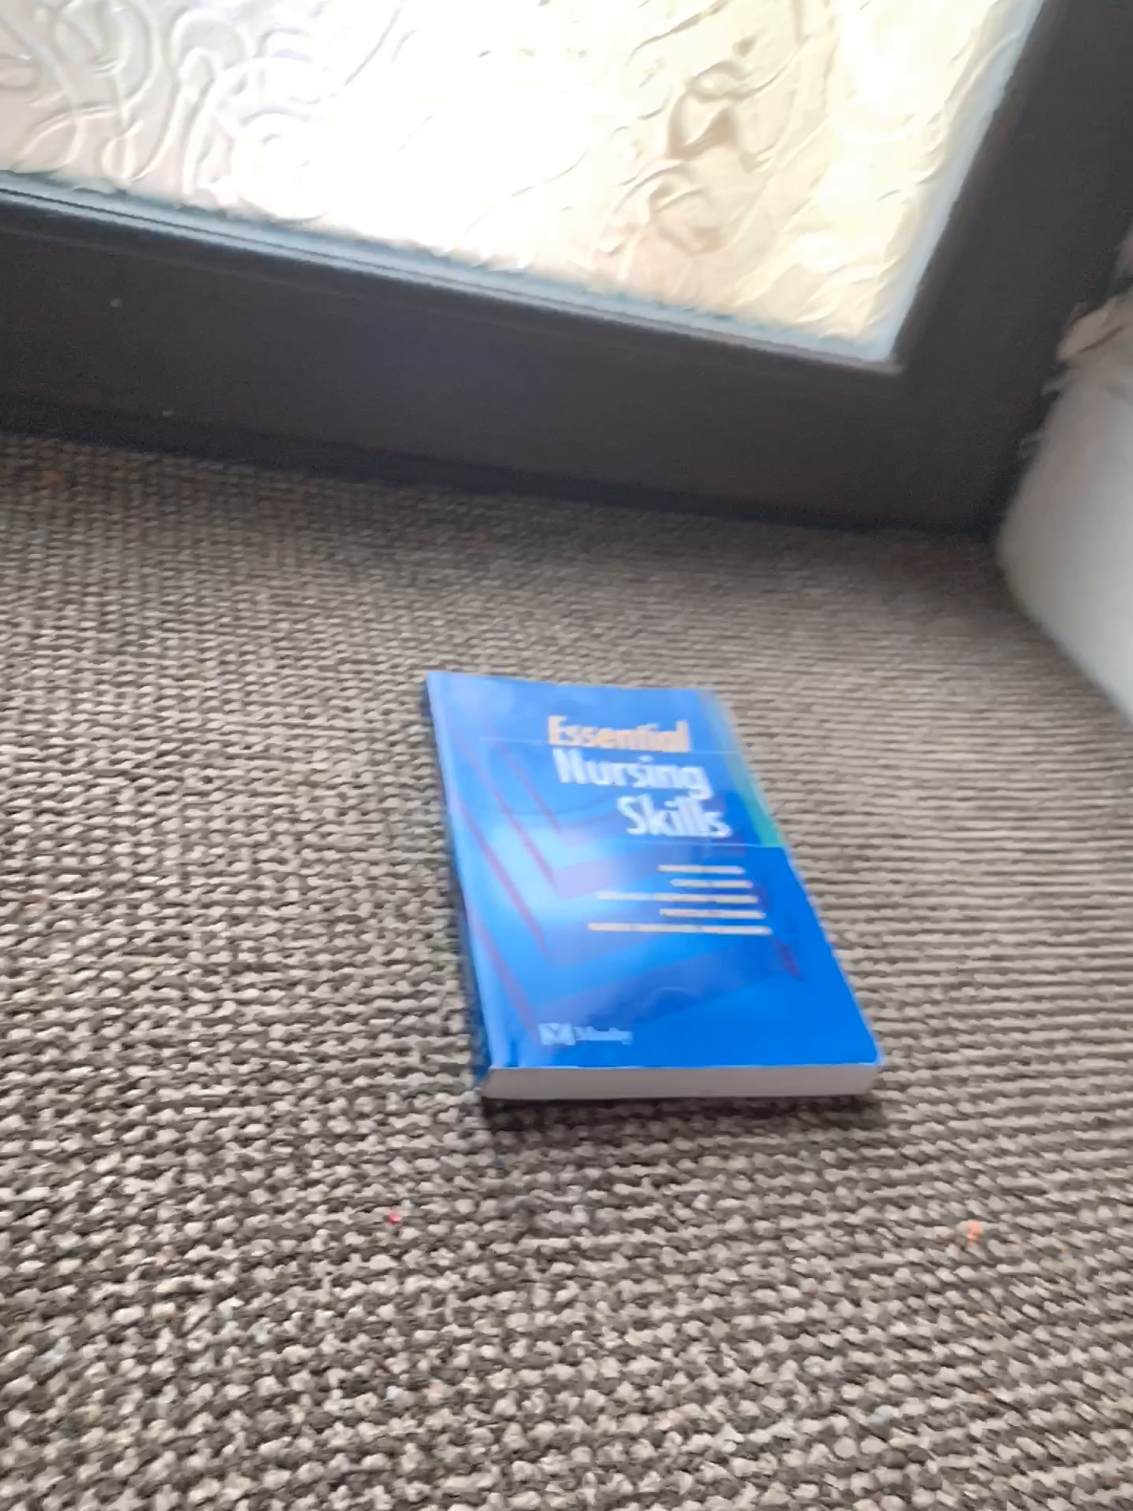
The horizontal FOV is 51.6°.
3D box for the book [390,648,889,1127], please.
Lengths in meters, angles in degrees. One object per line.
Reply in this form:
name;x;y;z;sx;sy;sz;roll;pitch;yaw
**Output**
book;0.017;0.043;0.521;0.170;0.020;0.252;3;41;-17
